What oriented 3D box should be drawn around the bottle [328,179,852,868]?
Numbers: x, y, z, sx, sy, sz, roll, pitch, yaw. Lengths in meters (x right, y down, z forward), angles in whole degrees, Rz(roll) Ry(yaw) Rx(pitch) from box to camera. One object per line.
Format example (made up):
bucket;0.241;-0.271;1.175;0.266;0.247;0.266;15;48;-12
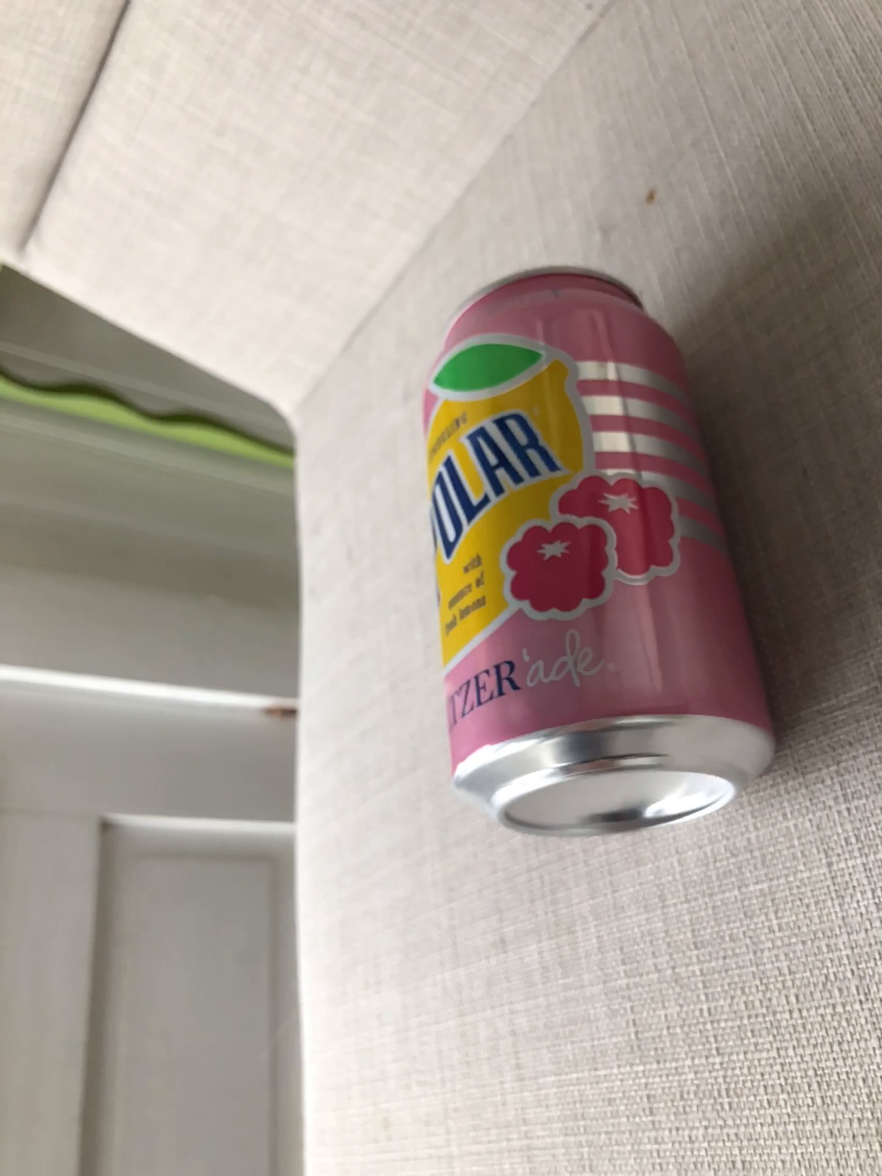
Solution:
bottle;0.023;-0.010;0.220;0.070;0.065;0.123;-38;48;44
